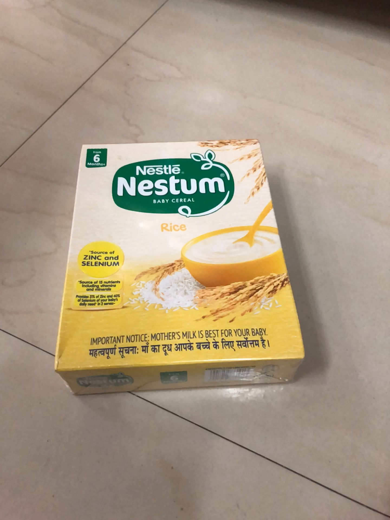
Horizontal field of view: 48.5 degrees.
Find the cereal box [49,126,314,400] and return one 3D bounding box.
[{"bbox_3d":[-0.012,-0.008,0.326,0.150,0.060,0.201,-2,56,-1],"label":"cereal box"}]
